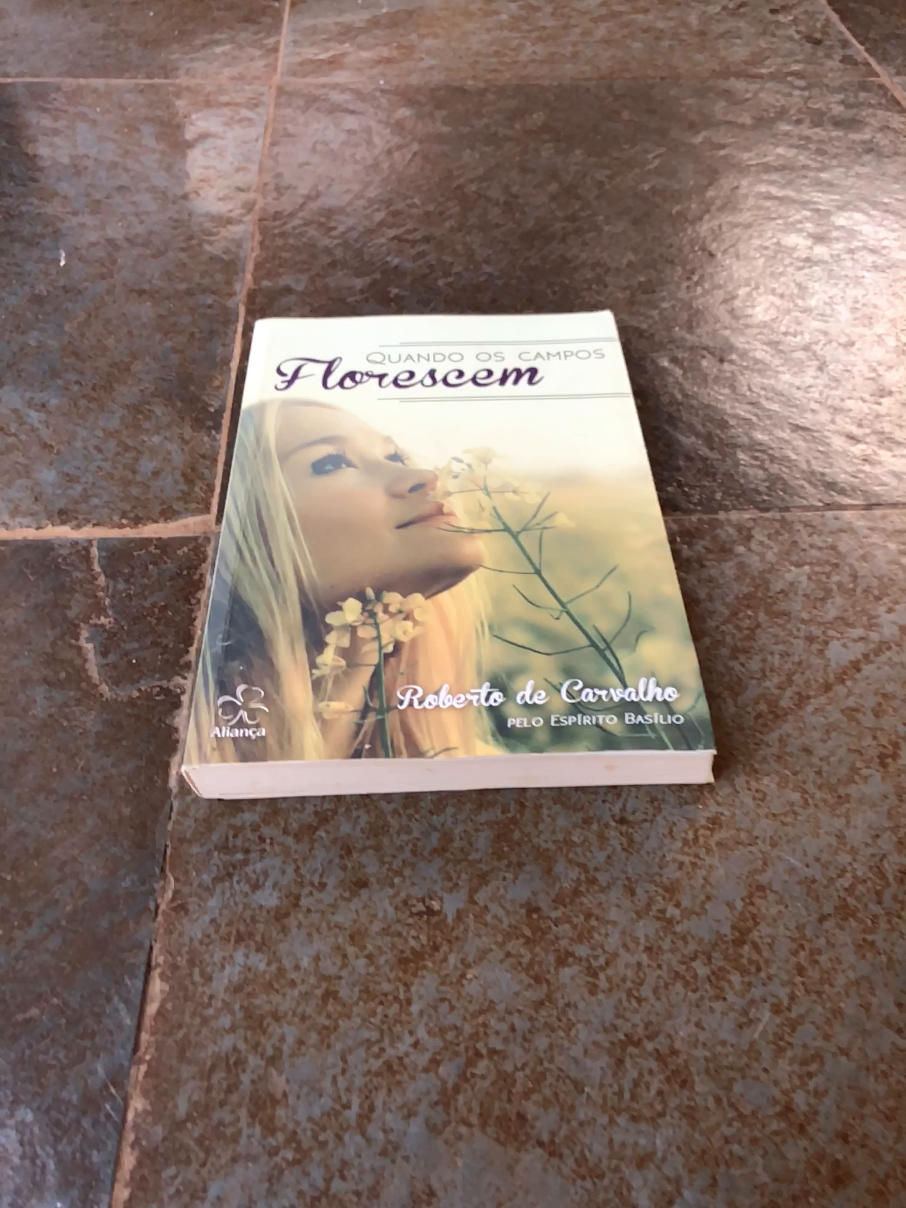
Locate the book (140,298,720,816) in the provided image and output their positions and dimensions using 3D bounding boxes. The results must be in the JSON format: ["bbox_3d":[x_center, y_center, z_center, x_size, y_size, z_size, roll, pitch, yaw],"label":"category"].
[{"bbox_3d":[-0.010,-0.034,0.360,0.161,0.022,0.226,-2,50,-1],"label":"book"}]
